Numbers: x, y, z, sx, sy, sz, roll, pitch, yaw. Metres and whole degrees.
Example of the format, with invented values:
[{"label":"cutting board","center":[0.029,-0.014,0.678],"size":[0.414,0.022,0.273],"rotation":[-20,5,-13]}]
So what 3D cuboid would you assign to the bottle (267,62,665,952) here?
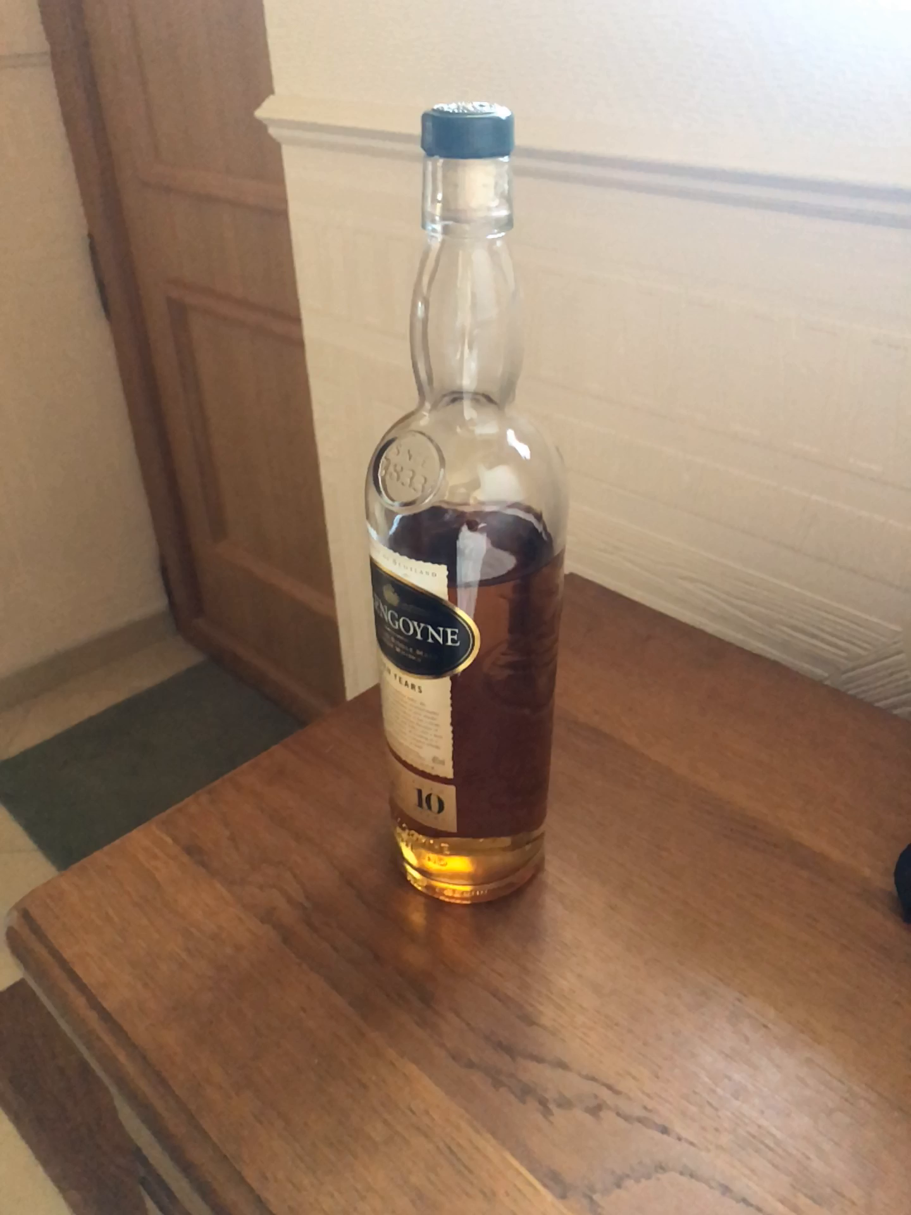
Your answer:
[{"label":"bottle","center":[0.007,-0.024,0.385],"size":[0.080,0.318,0.090],"rotation":[-26,39,-32]}]
